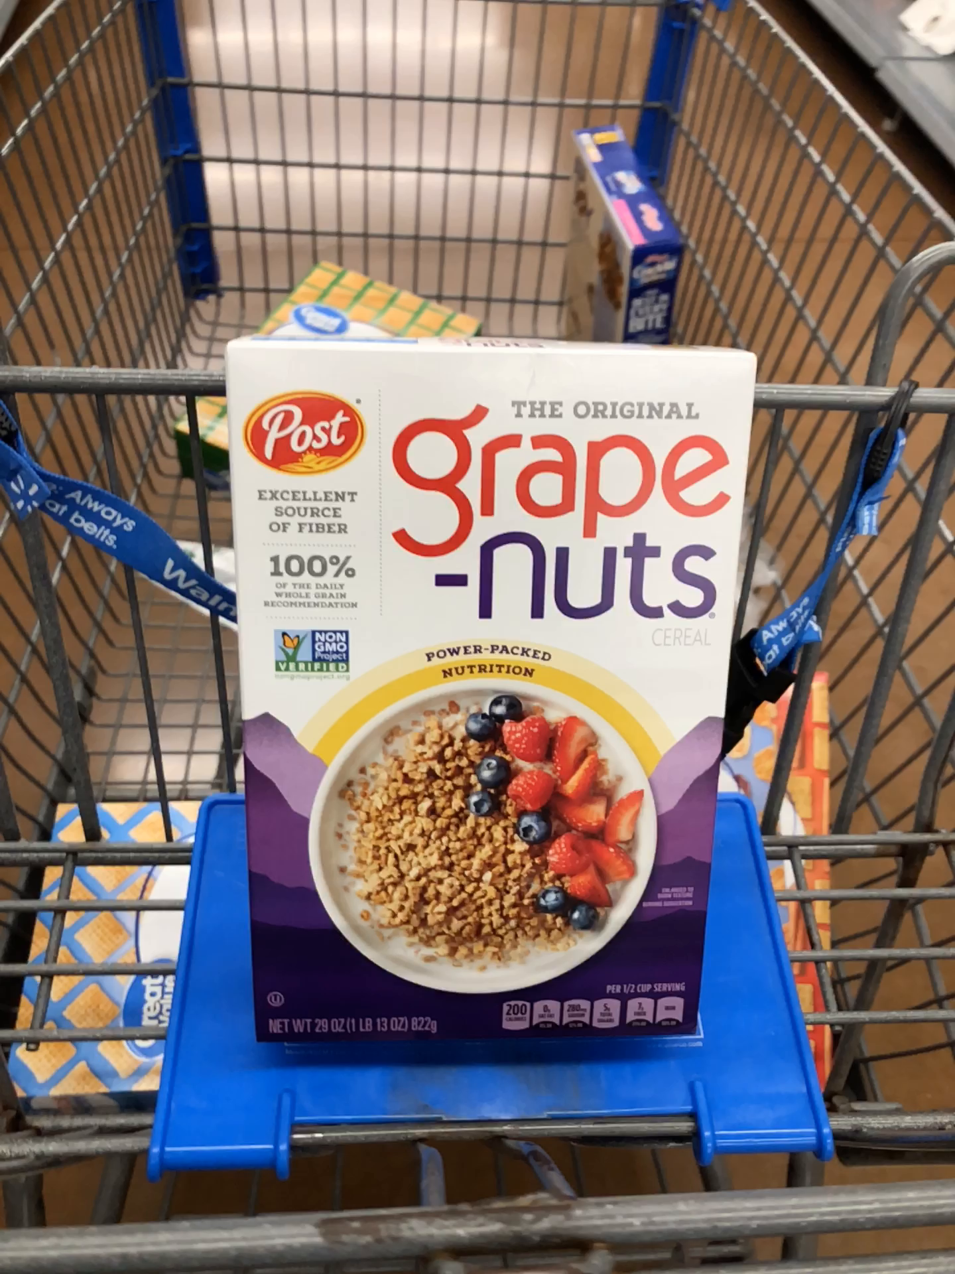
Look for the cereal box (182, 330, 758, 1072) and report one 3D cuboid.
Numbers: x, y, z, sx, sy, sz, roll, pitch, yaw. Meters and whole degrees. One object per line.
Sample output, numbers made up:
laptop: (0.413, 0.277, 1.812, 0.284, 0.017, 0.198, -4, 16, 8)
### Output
cereal box: (-0.005, 0.026, 0.368, 0.170, 0.250, 0.050, 0, 15, -4)
